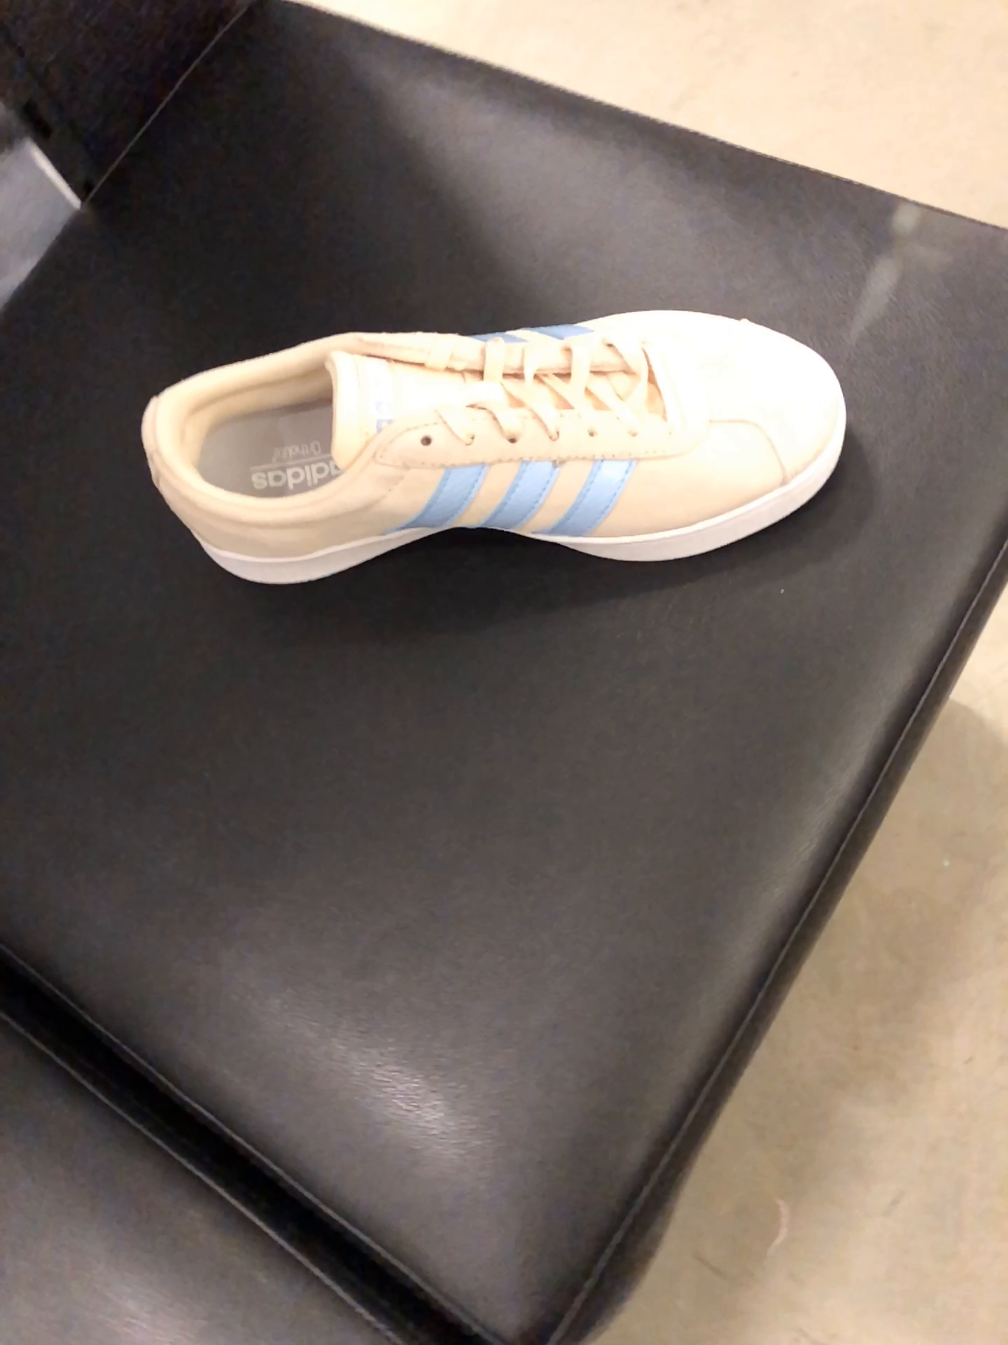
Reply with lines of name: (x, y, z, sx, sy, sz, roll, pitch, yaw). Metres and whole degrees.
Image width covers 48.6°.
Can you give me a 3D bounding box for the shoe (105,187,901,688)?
shoe: (-0.004, -0.078, 0.414, 0.260, 0.090, 0.100, -10, 69, 9)
